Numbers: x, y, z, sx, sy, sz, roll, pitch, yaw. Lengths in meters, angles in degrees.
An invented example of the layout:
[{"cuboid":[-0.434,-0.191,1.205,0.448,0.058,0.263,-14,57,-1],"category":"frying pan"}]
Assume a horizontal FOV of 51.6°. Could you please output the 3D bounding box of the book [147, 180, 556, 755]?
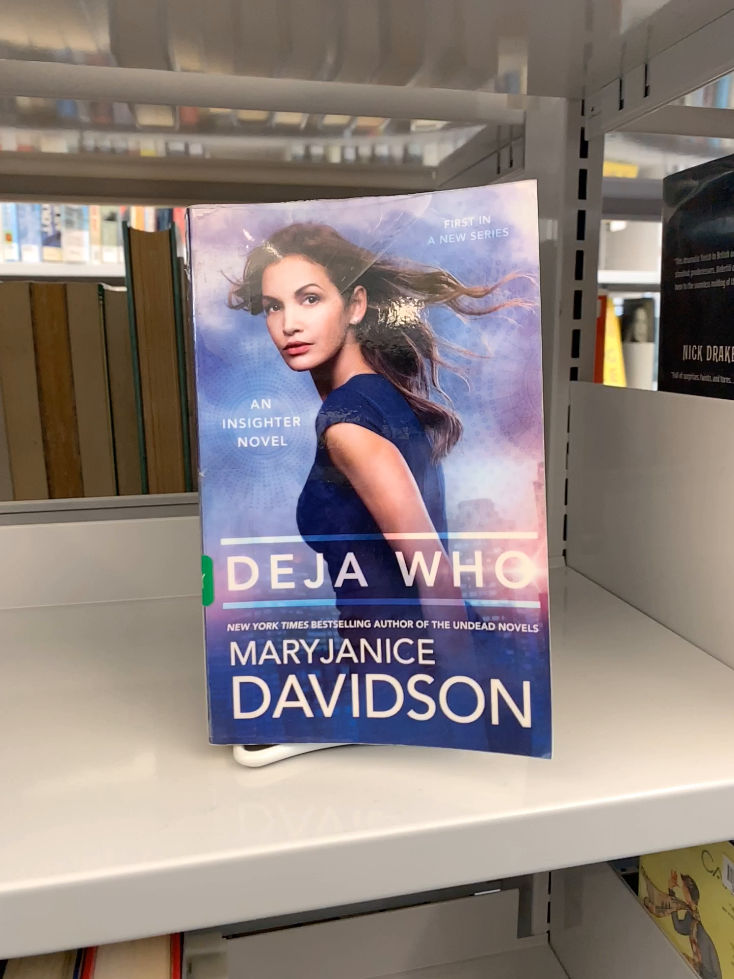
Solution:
[{"cuboid":[-0.006,-0.007,0.278,0.136,0.190,0.047,-1,-2,3],"category":"book"}]
